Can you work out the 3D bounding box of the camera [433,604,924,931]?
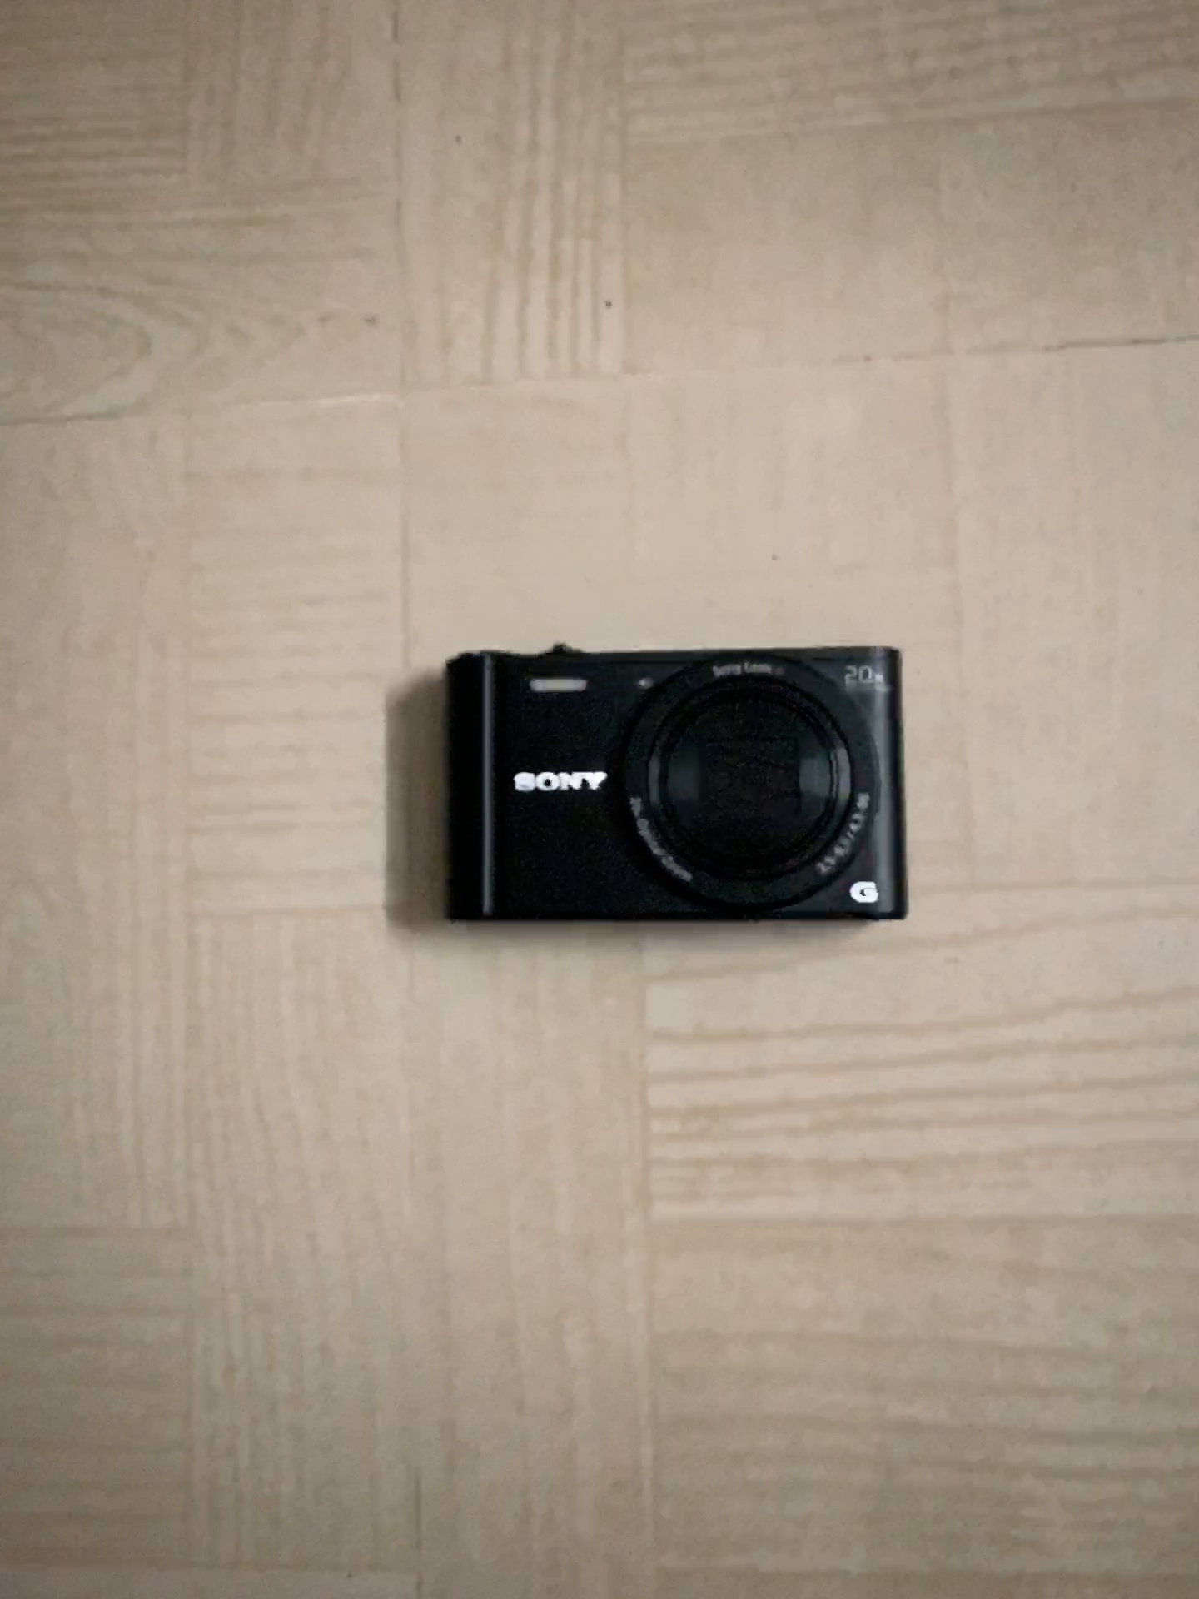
[{"bbox_3d":[0.015,-0.005,0.251,0.092,0.025,0.060,-1,86,6],"label":"camera"}]
